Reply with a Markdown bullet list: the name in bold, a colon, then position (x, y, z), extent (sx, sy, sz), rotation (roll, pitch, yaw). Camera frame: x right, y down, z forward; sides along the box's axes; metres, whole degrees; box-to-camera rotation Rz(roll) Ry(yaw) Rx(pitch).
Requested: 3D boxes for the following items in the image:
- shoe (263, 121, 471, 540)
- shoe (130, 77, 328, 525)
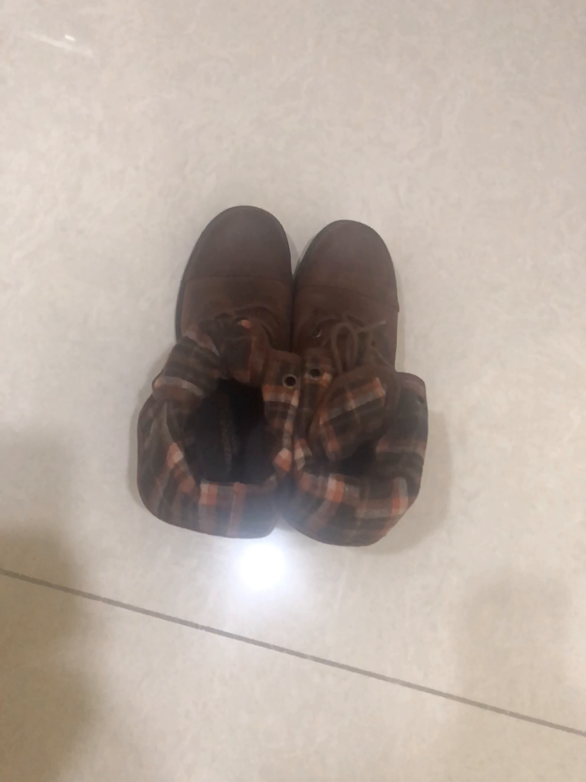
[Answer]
- **shoe**: position (0.051, -0.032, 0.486), extent (0.100, 0.140, 0.270), rotation (8, 78, -10)
- **shoe**: position (-0.048, -0.047, 0.470), extent (0.110, 0.150, 0.280), rotation (4, 78, -11)
